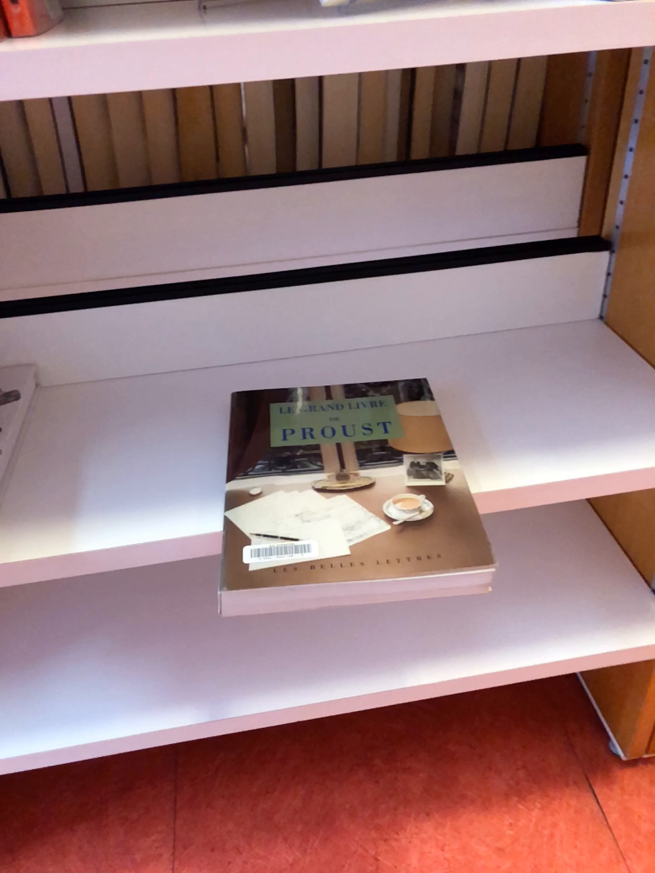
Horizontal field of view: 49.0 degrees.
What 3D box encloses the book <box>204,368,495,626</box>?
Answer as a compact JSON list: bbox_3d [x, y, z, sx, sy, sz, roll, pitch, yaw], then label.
[{"bbox_3d":[0.007,0.030,0.551,0.180,0.030,0.246,-5,36,-1],"label":"book"}]
